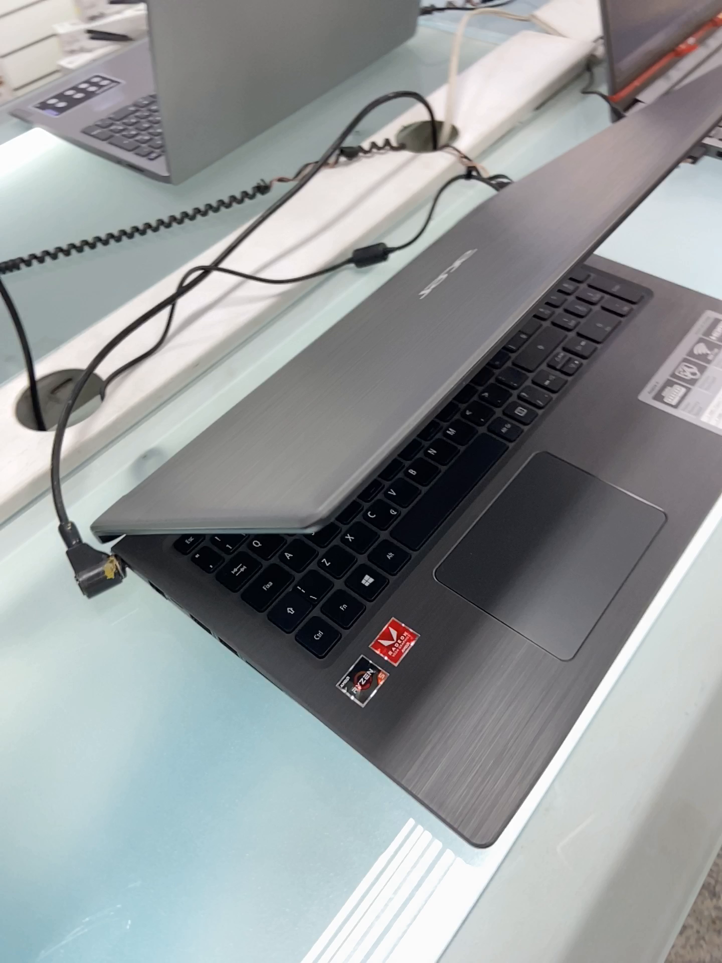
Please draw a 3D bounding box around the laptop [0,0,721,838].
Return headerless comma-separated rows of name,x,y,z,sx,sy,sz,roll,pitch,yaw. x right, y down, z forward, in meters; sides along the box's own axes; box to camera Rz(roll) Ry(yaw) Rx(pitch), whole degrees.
laptop,0.074,-0.072,0.350,0.220,0.155,0.344,30,59,26
